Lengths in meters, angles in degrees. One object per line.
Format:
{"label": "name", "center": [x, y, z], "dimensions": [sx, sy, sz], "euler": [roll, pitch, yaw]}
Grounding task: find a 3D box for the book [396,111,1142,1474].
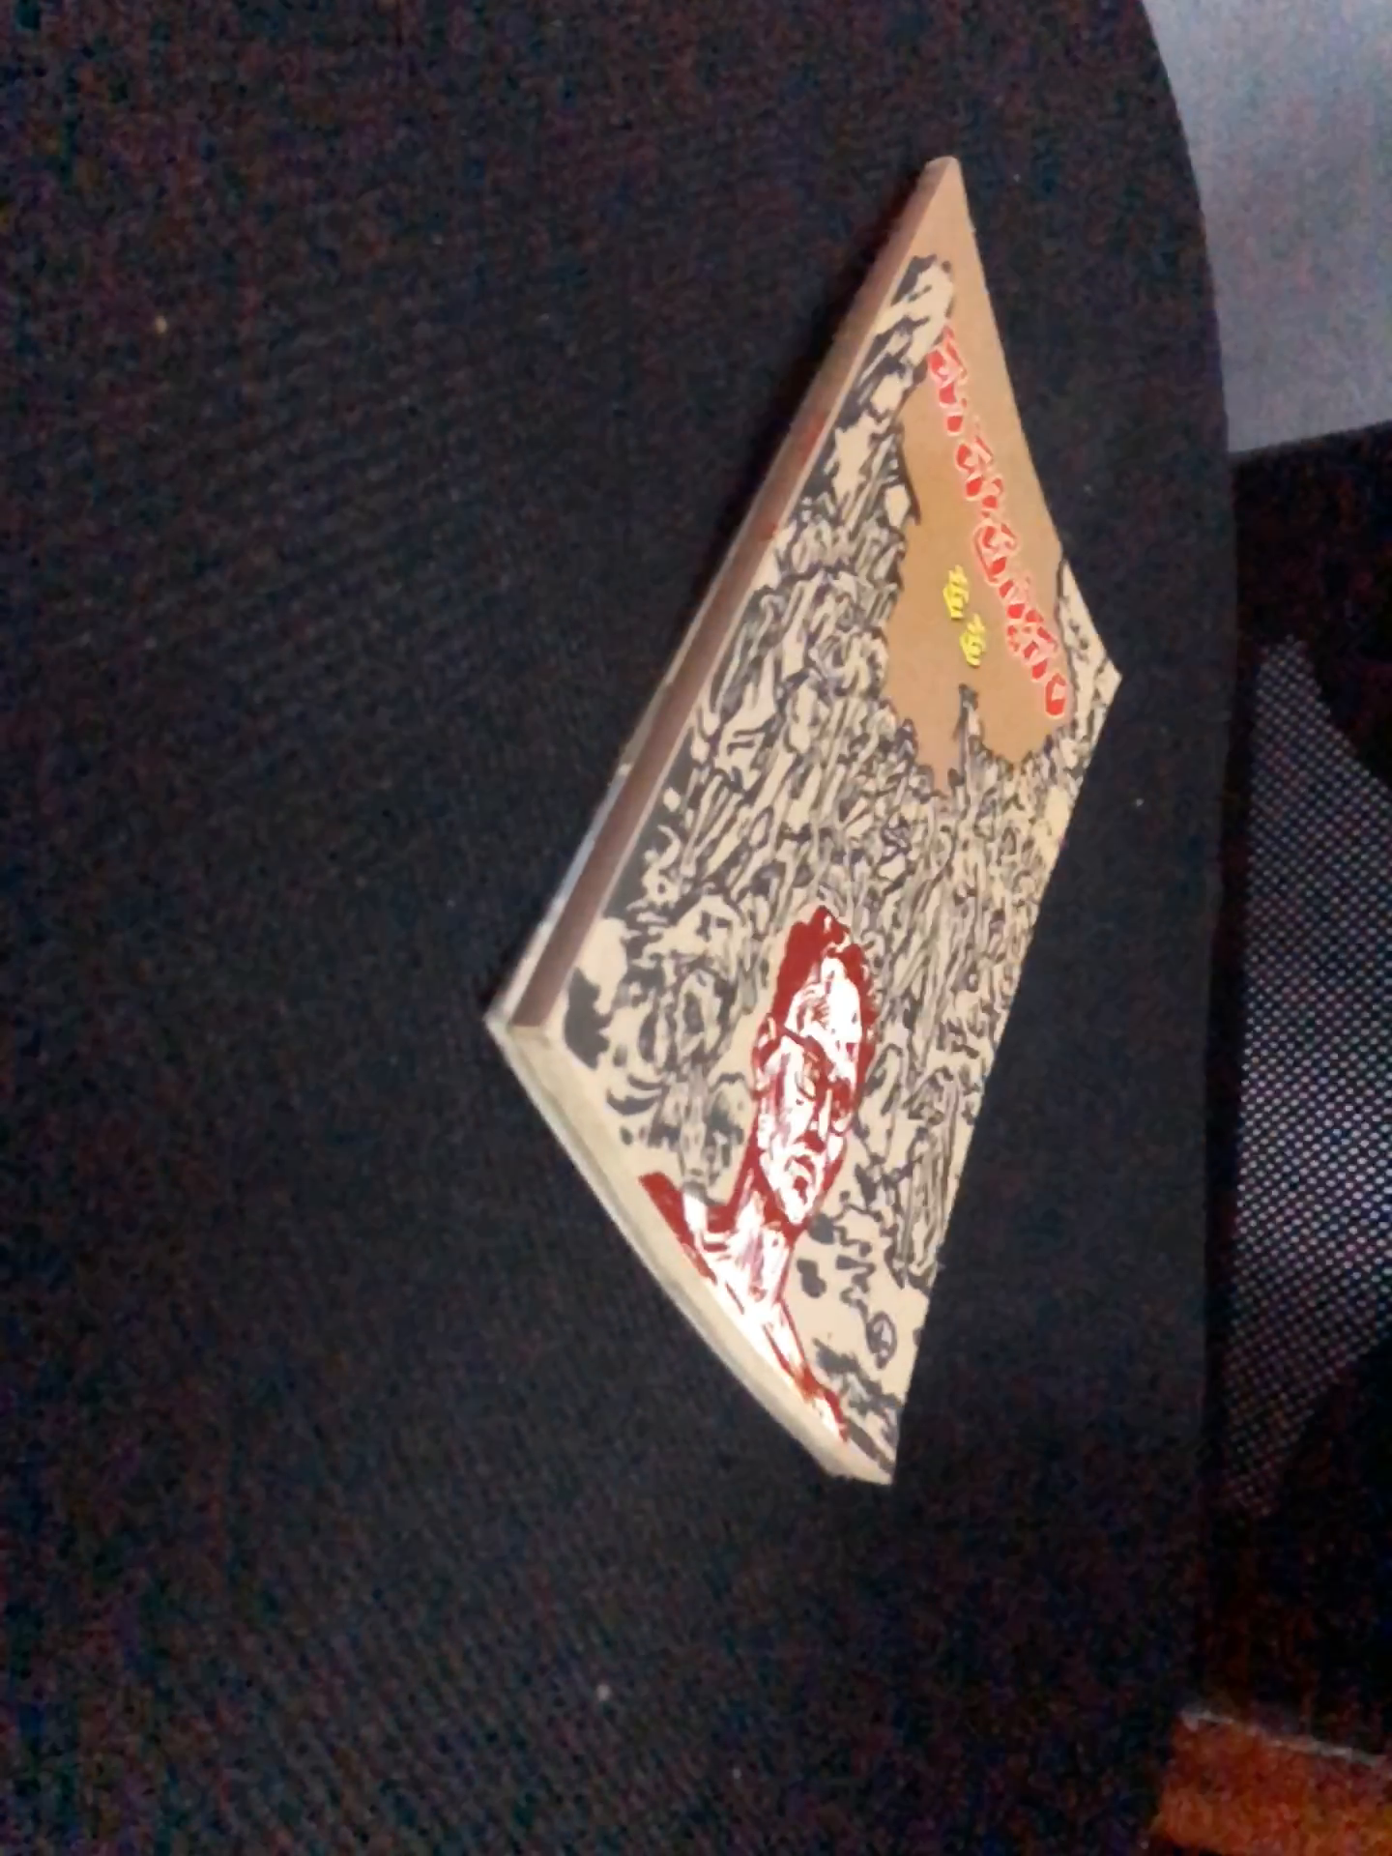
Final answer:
{"label": "book", "center": [0.038, -0.030, 0.296], "dimensions": [0.141, 0.018, 0.221], "euler": [57, 47, -42]}
